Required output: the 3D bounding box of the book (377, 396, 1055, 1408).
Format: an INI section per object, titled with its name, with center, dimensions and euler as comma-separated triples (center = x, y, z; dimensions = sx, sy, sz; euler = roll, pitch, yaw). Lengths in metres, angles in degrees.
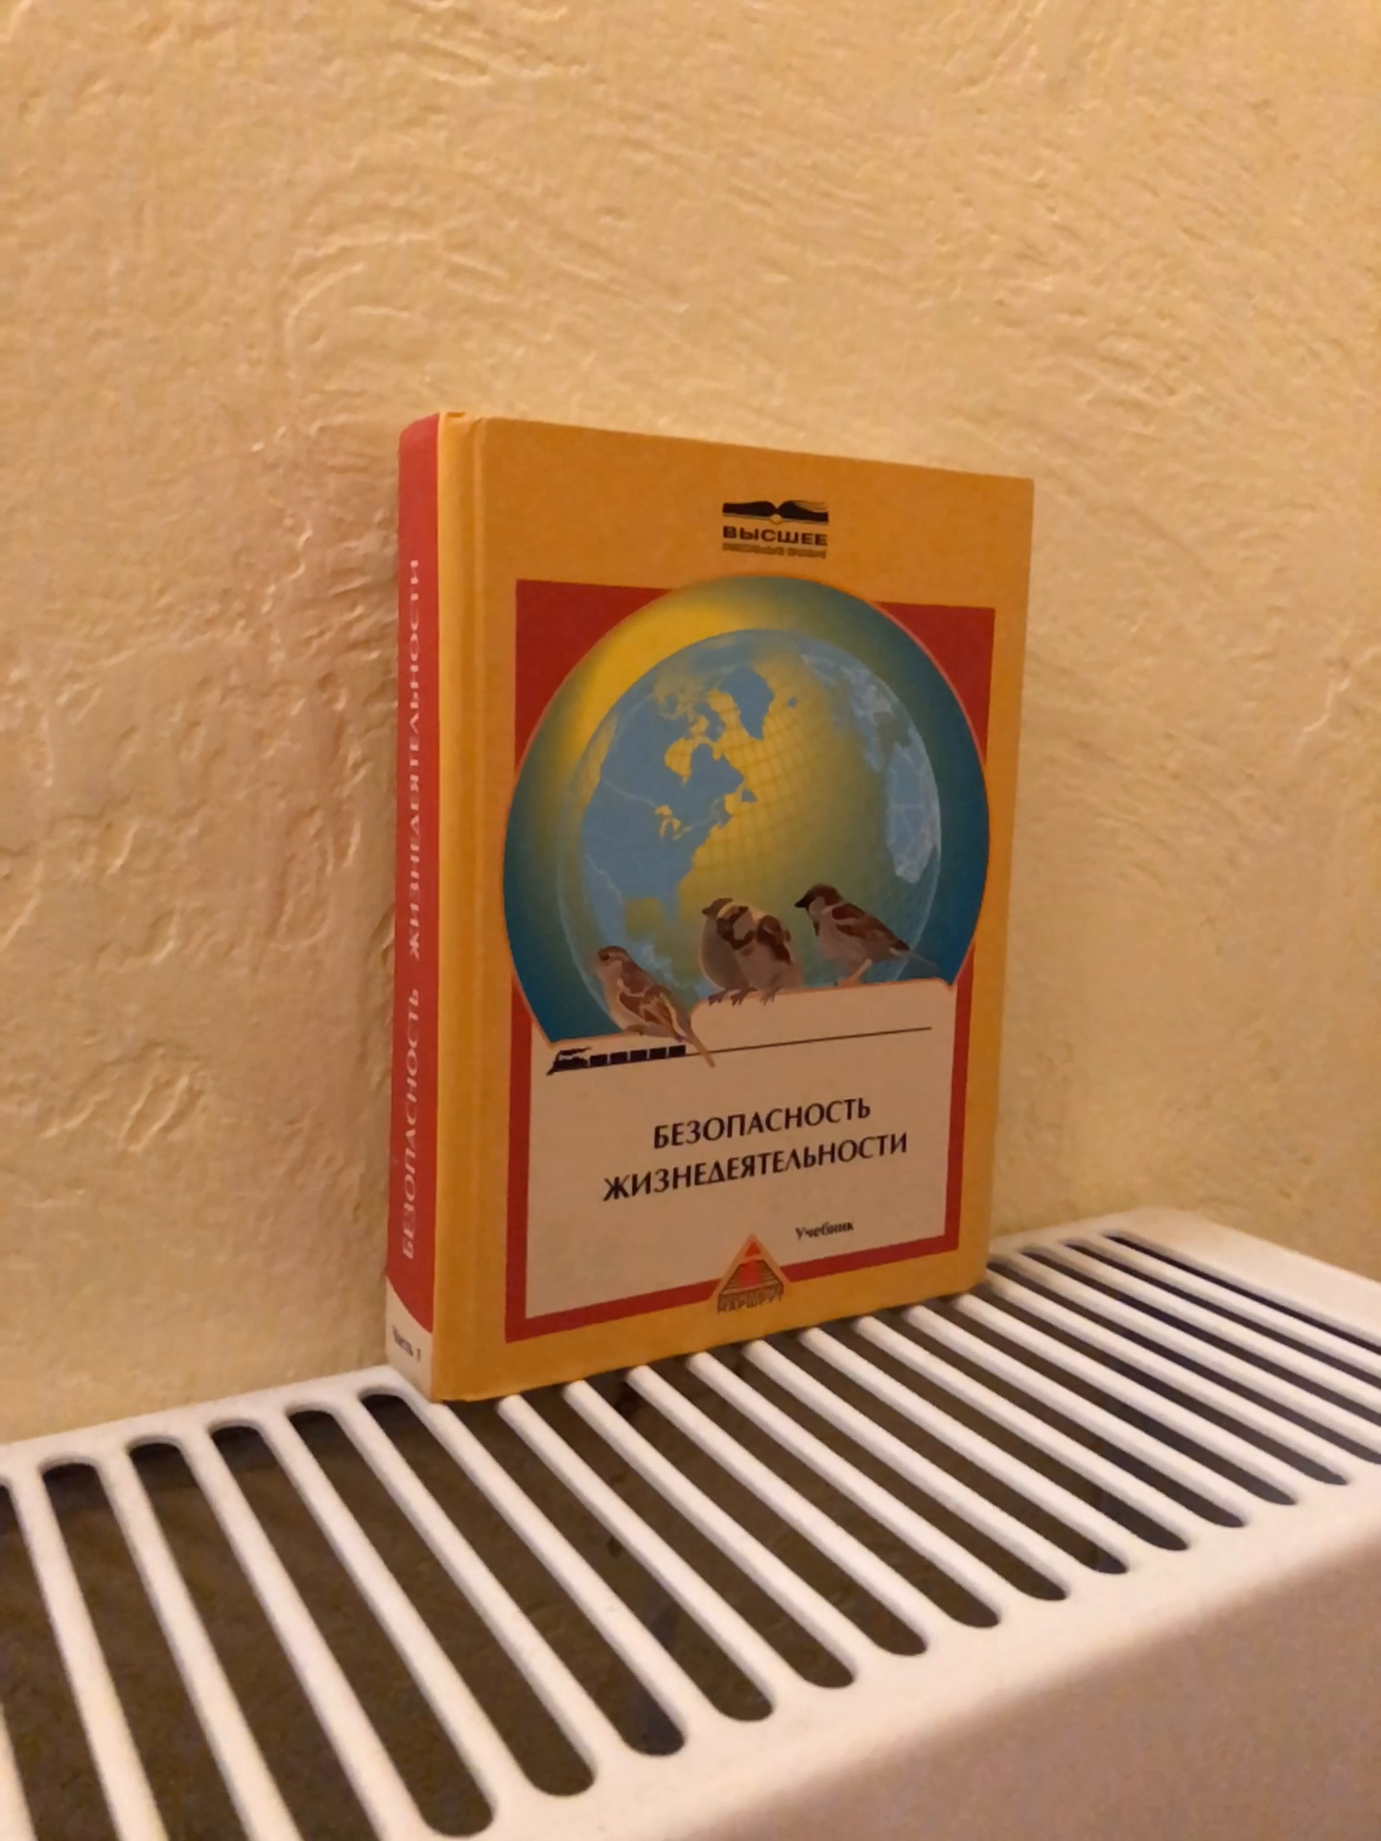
[book]
center = 0.007, -0.006, 0.355
dimensions = 0.150, 0.203, 0.041
euler = -4, 11, -29
